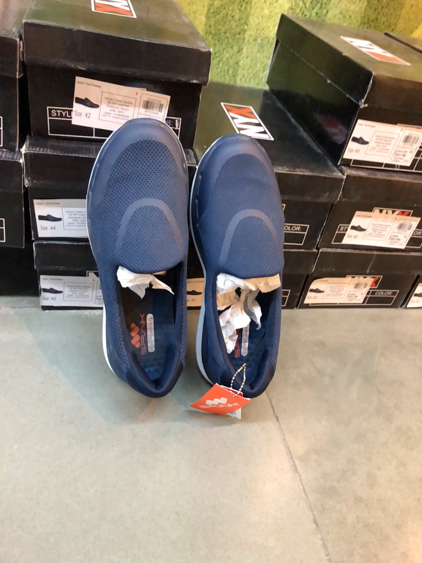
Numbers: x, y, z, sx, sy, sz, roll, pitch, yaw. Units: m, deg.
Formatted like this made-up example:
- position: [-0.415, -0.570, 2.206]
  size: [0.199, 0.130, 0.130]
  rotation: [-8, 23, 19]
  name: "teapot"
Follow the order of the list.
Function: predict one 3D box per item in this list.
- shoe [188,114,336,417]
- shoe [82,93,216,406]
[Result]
- position: [0.042, -0.017, 0.474]
  size: [0.107, 0.273, 0.099]
  rotation: [-2, 13, -15]
  name: "shoe"
- position: [-0.066, -0.033, 0.468]
  size: [0.110, 0.273, 0.110]
  rotation: [-2, 14, -14]
  name: "shoe"
